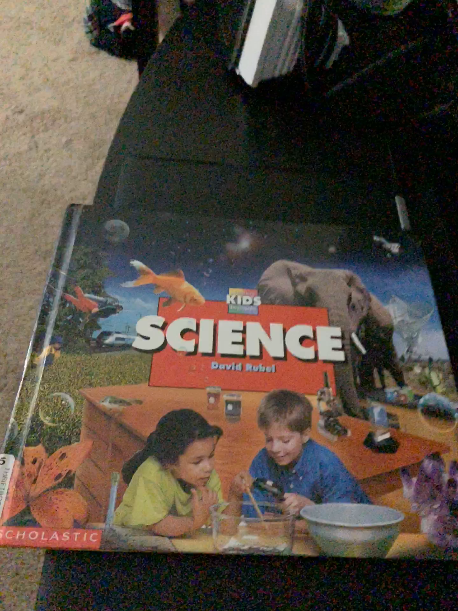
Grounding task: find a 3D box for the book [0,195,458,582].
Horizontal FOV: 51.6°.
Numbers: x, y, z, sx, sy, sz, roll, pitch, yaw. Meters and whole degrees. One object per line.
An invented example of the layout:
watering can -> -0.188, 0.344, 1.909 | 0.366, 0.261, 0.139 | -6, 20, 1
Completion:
book -> 0.011, 0.036, 0.309 | 0.280, 0.030, 0.241 | 3, 58, -3
